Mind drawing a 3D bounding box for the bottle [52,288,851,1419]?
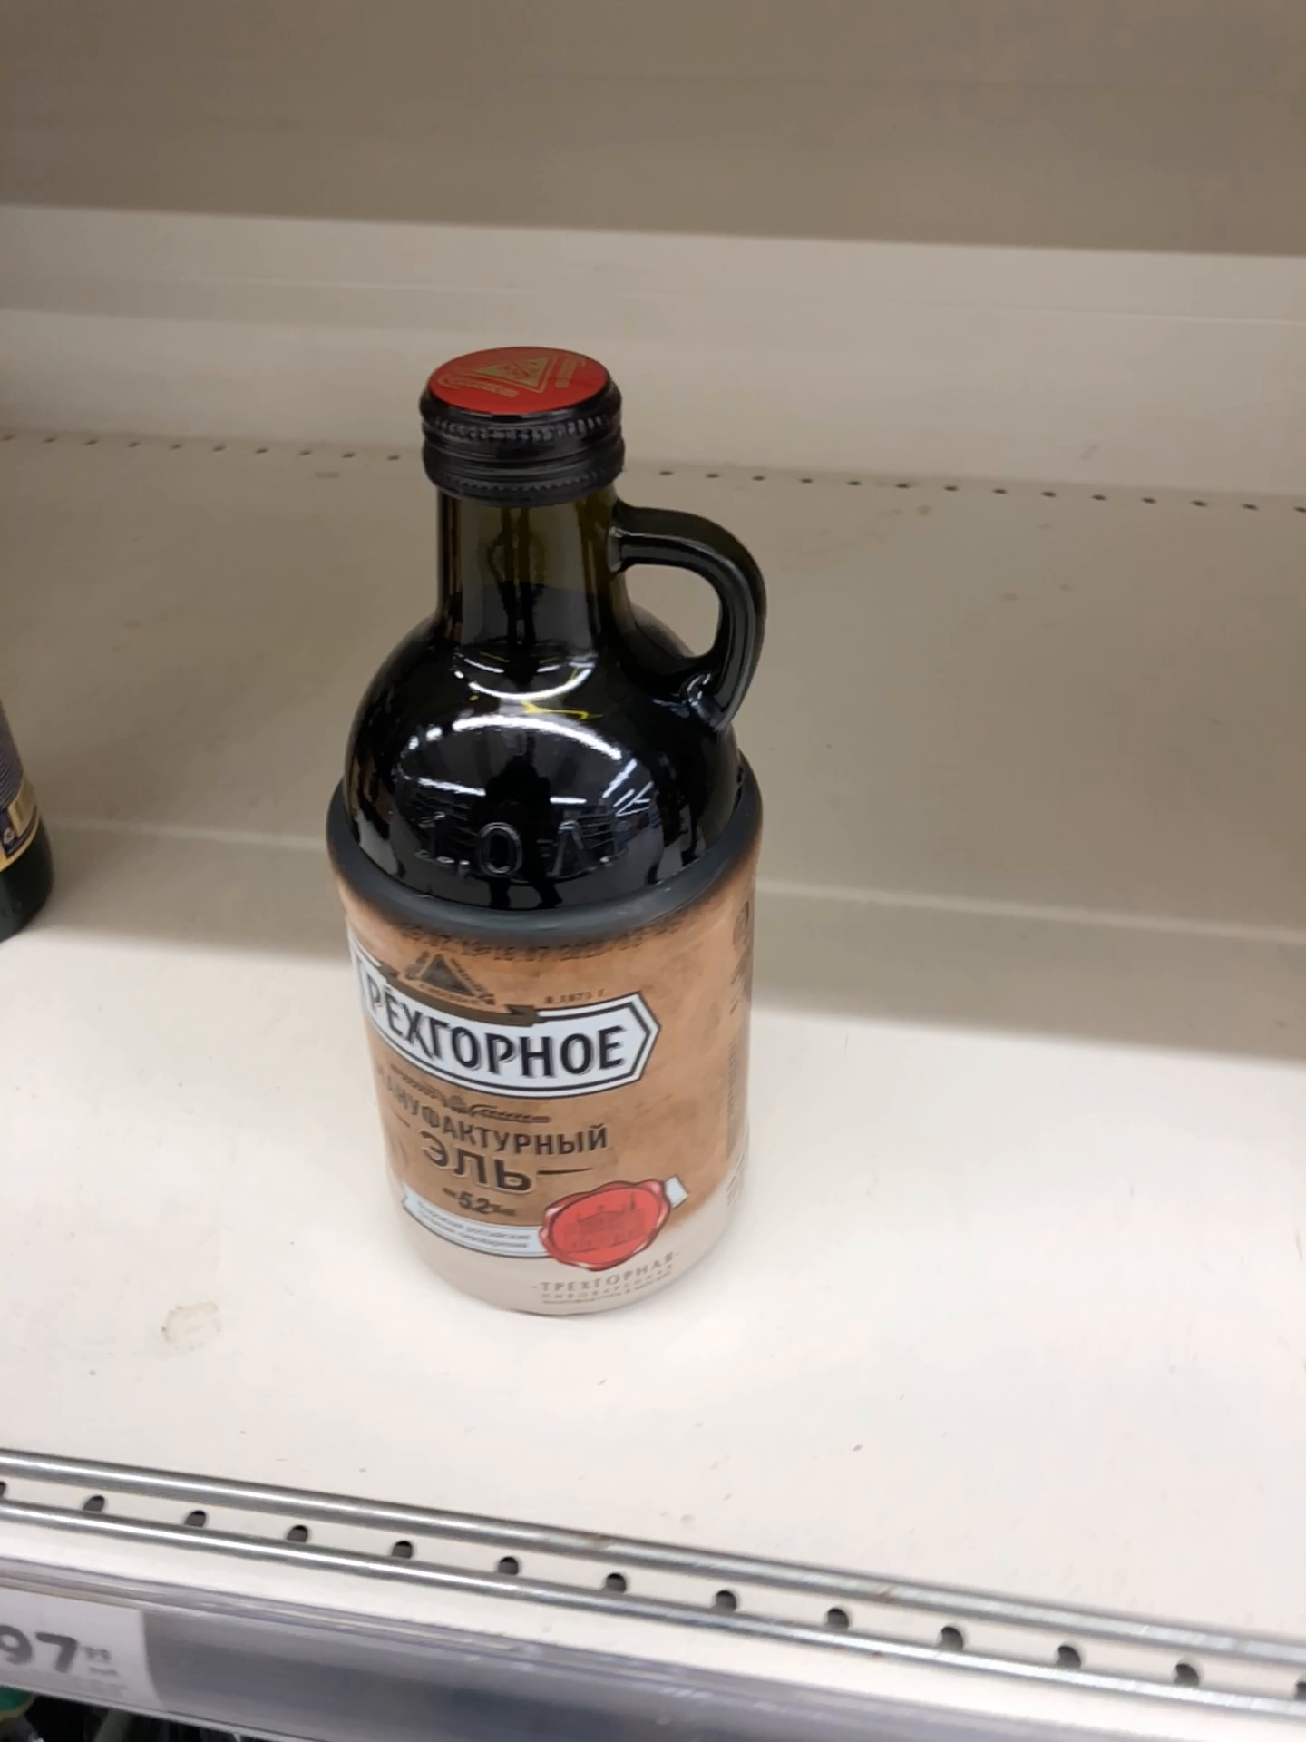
[{"bbox_3d":[-0.029,0.003,0.330,0.110,0.225,0.101,0,39,0],"label":"bottle"}]
